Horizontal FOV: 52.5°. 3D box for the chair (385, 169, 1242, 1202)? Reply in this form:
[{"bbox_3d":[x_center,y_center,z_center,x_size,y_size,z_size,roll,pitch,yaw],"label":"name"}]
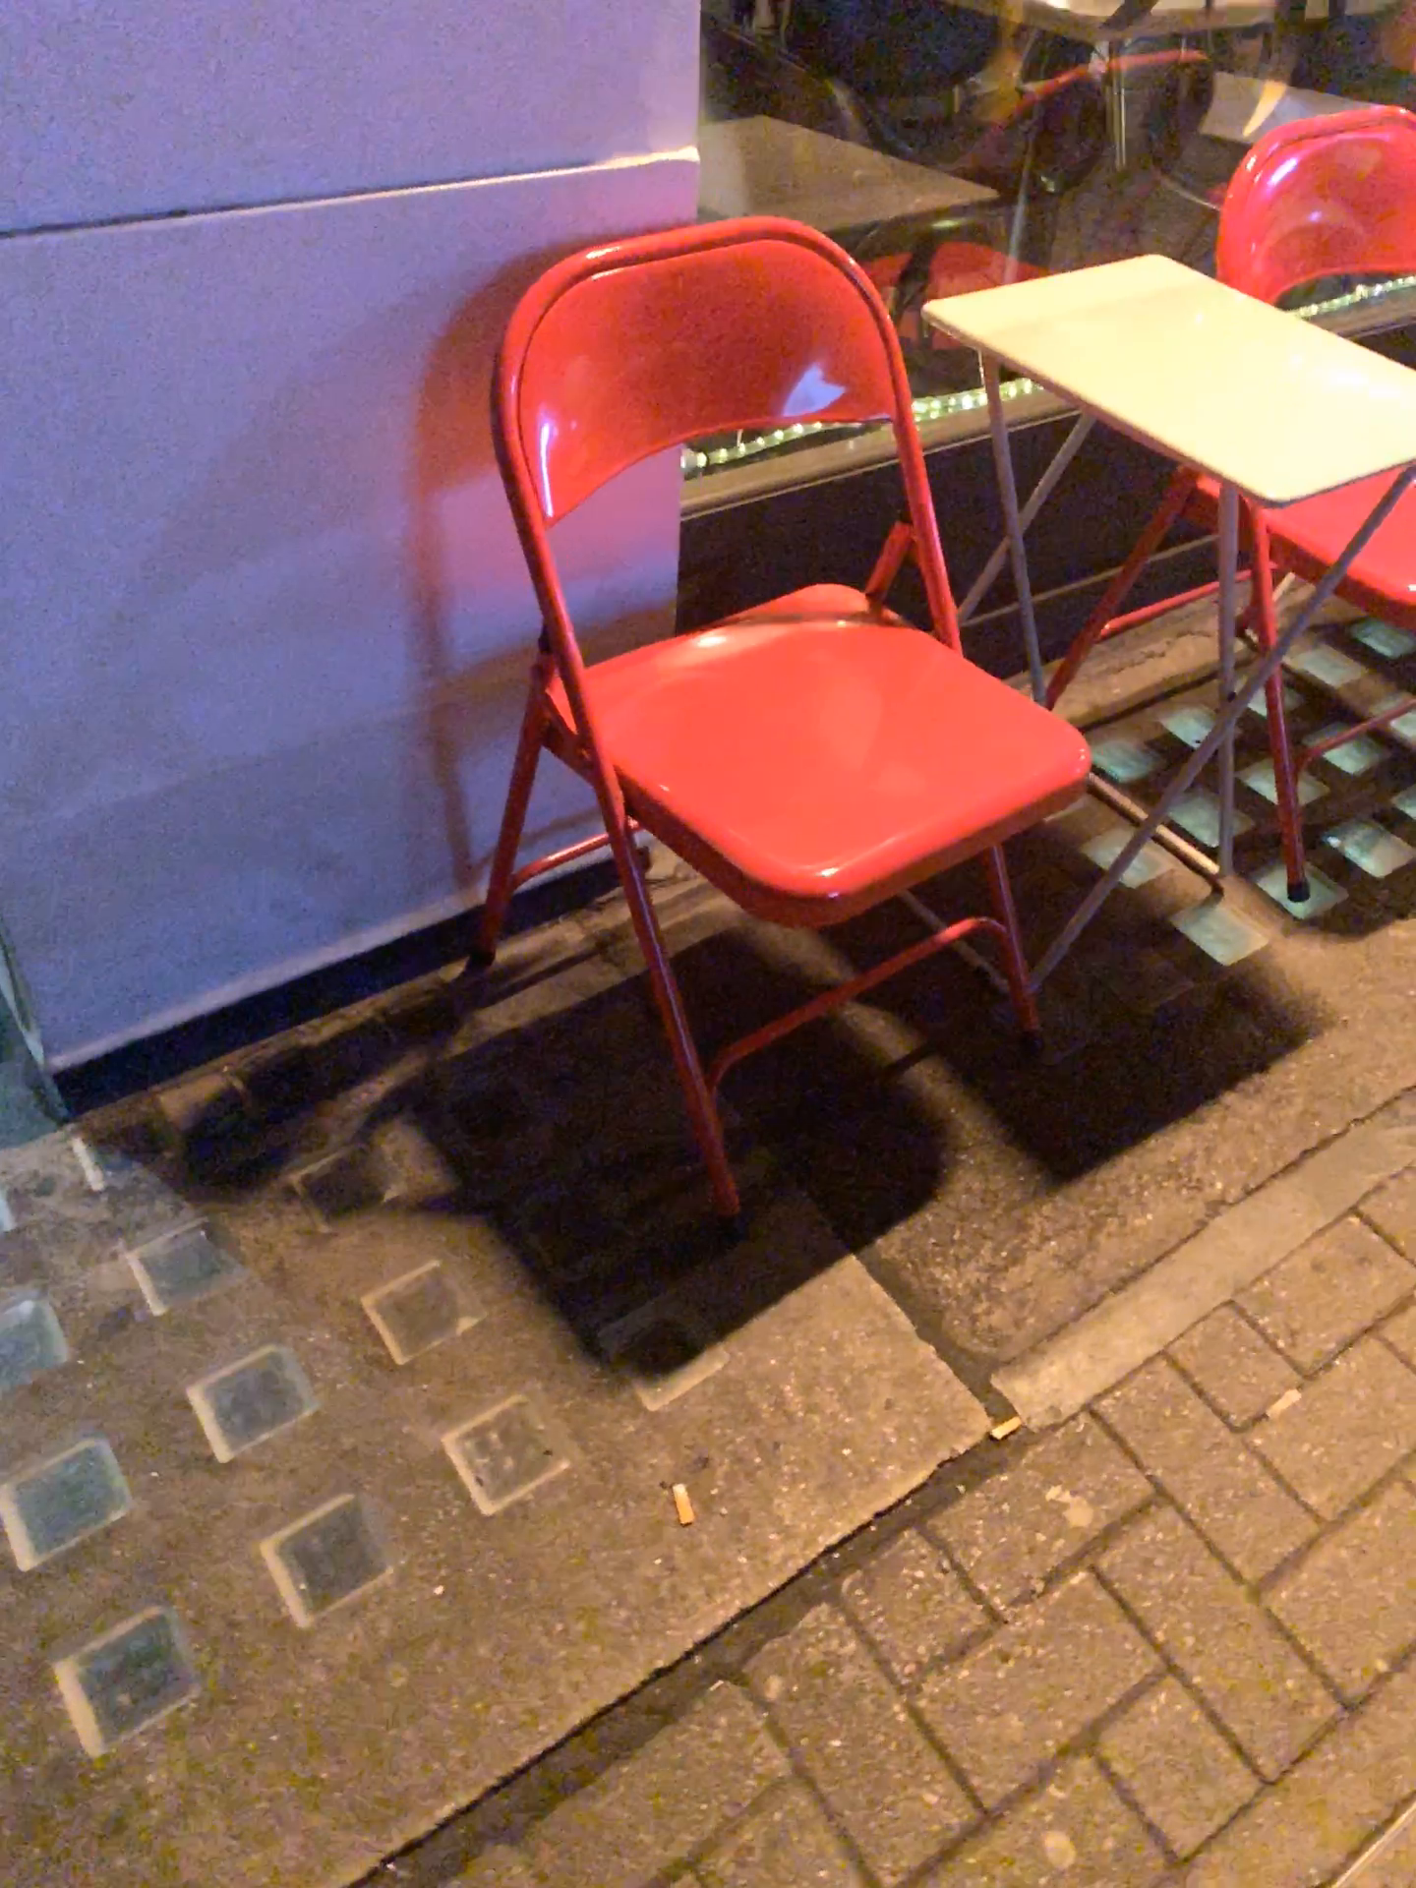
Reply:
[{"bbox_3d":[0.053,-0.262,1.419,0.472,0.742,0.533,-25,50,-29],"label":"chair"}]
